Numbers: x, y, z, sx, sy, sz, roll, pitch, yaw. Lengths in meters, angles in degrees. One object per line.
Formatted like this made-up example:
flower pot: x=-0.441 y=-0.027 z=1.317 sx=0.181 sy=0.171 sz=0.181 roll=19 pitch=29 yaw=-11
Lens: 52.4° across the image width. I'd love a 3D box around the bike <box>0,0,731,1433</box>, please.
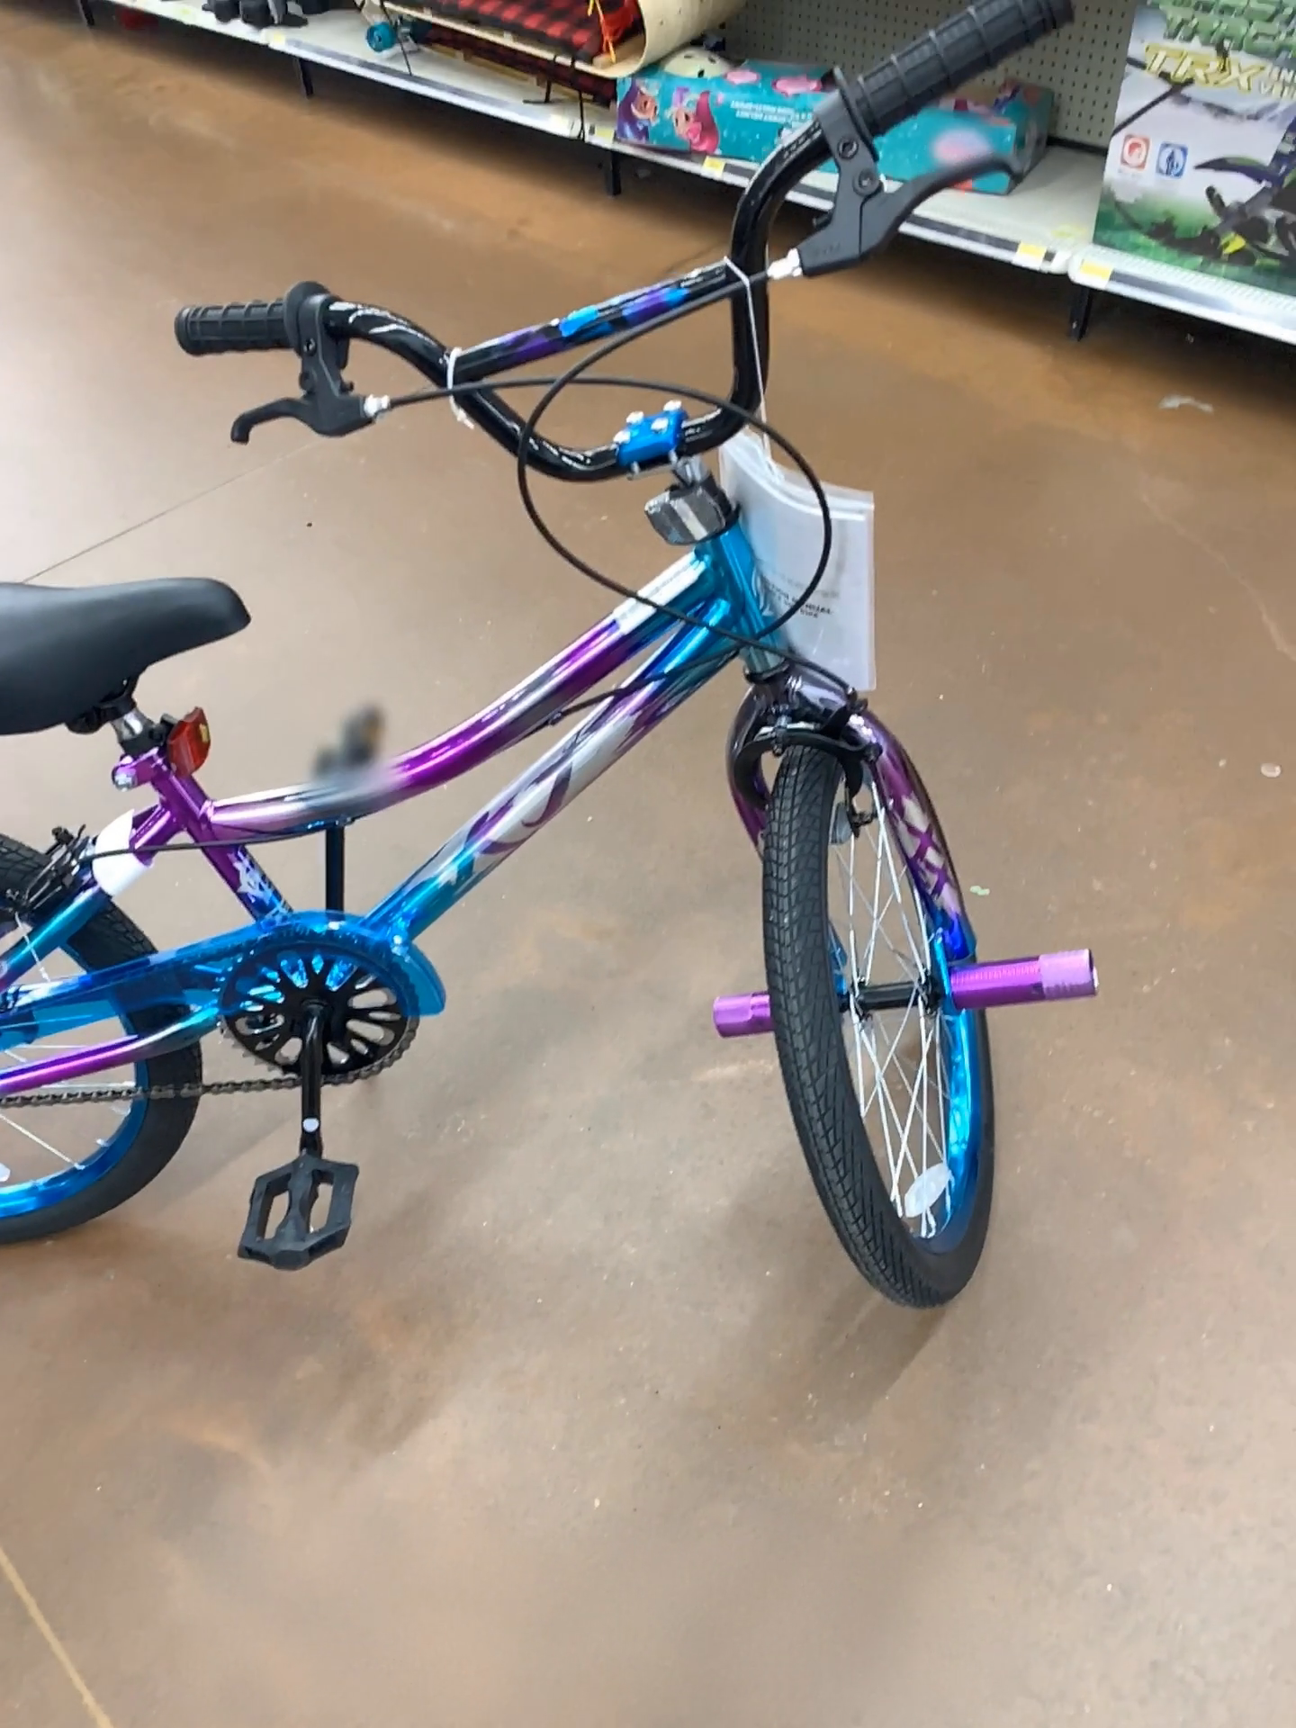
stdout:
bike: x=-0.416 y=-0.091 z=0.970 sx=0.933 sy=0.931 sz=0.580 roll=-3 pitch=46 yaw=0
